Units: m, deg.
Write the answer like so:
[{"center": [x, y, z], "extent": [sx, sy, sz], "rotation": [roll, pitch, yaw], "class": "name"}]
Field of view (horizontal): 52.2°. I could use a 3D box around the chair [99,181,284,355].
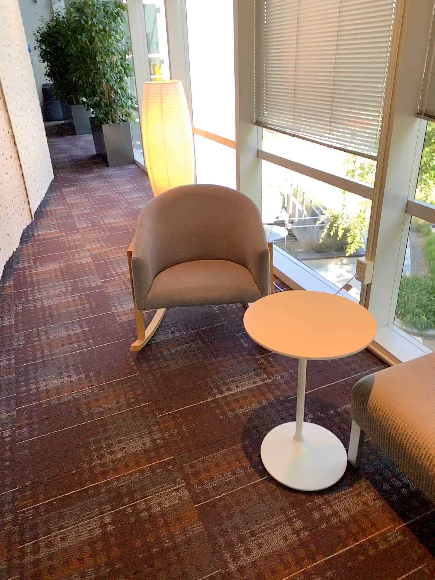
[{"center": [-0.132, -0.182, 2.601], "extent": [0.850, 0.656, 0.915], "rotation": [-3, 27, -2], "class": "chair"}]
